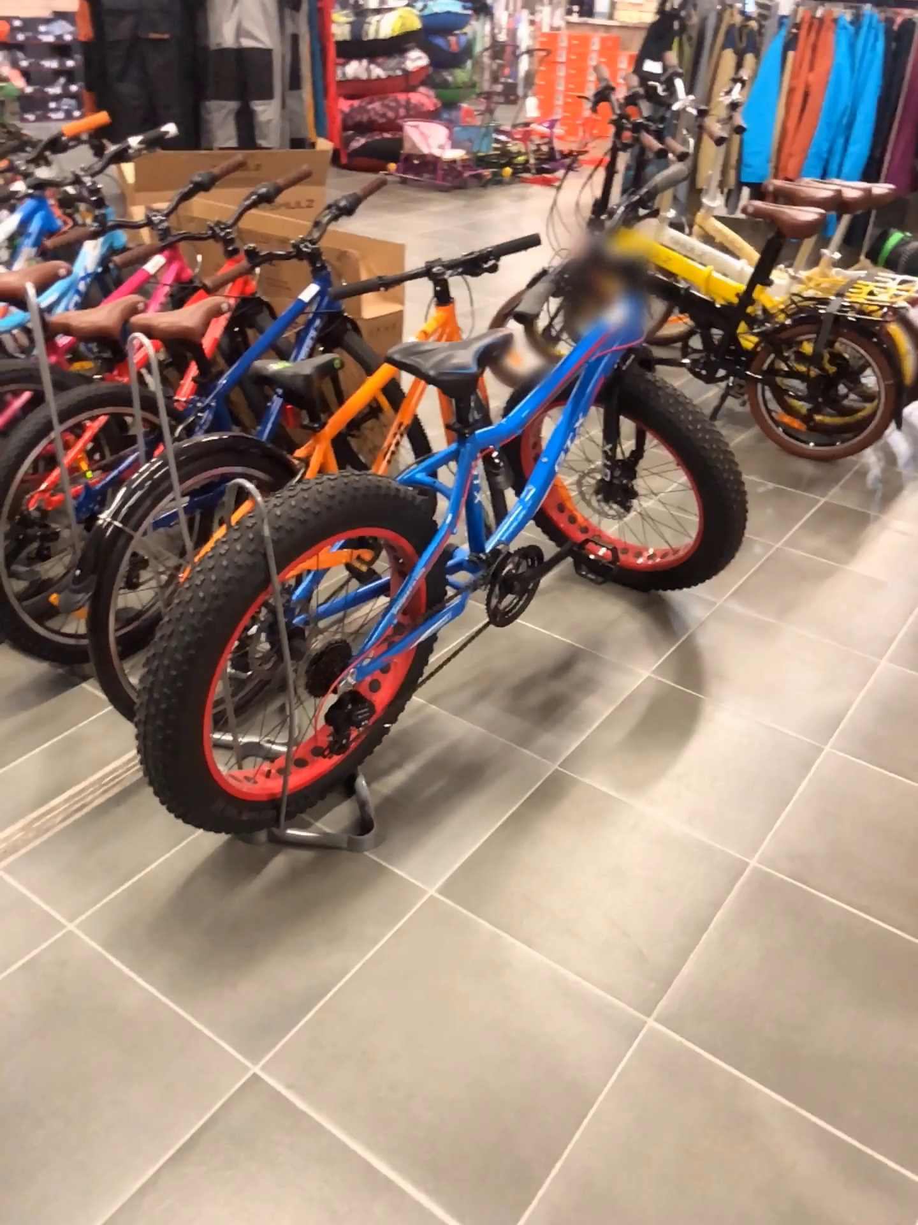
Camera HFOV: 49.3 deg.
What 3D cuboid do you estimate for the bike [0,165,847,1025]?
[{"bbox_3d":[0.078,-0.209,1.888,0.615,1.023,1.472,22,35,28],"label":"bike"}]
